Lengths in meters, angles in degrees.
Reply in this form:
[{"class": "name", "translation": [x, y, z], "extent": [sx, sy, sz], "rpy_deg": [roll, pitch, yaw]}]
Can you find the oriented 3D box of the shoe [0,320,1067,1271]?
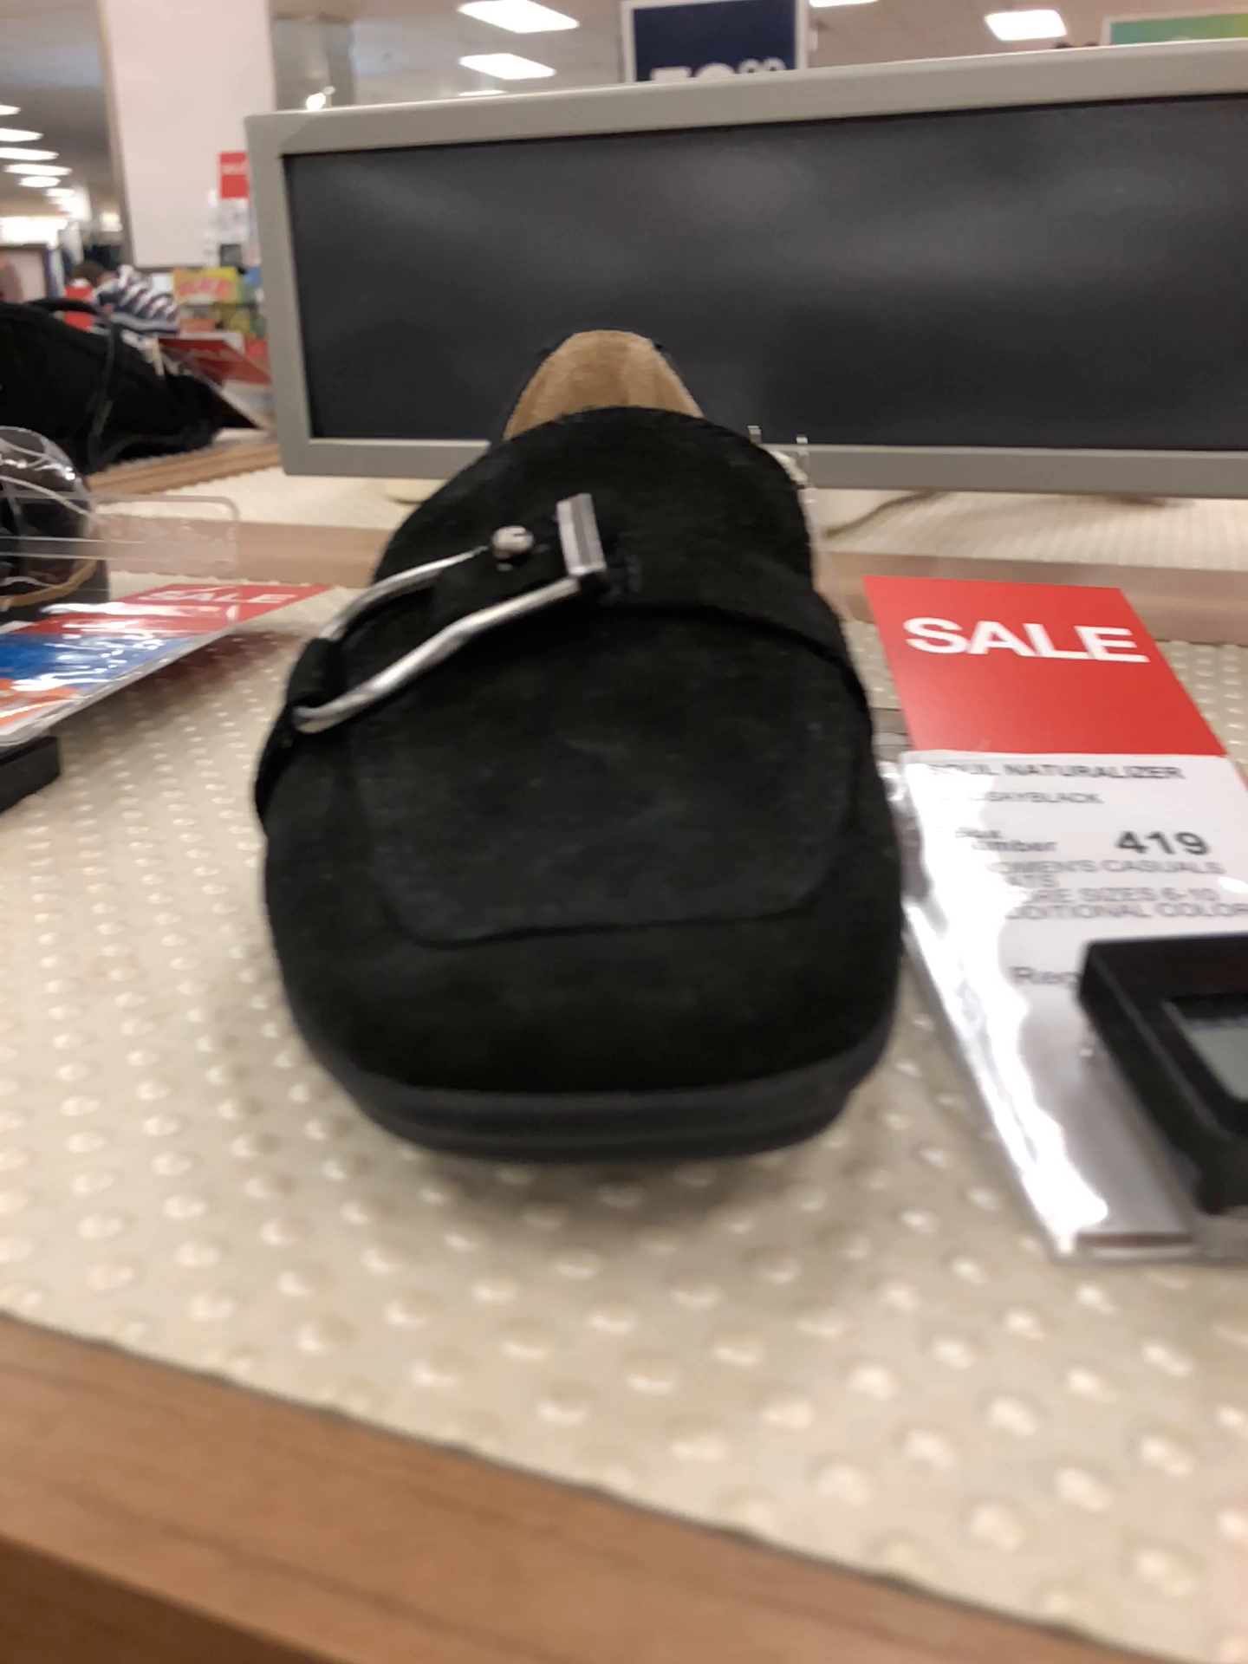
[{"class": "shoe", "translation": [-0.009, -0.040, 0.229], "extent": [0.080, 0.079, 0.239], "rpy_deg": [-1, 21, -1]}]
